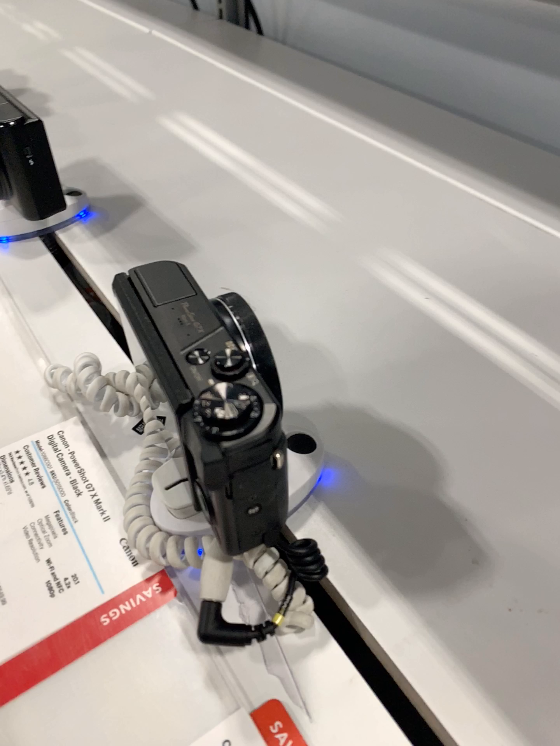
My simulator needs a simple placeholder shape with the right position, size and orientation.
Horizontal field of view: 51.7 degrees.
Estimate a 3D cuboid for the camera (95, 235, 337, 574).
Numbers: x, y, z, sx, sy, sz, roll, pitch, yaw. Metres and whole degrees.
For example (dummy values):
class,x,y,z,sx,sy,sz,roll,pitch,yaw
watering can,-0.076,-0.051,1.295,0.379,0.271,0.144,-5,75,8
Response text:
class,x,y,z,sx,sy,sz,roll,pitch,yaw
camera,-0.027,0.006,0.218,0.044,0.060,0.110,-20,48,-18
